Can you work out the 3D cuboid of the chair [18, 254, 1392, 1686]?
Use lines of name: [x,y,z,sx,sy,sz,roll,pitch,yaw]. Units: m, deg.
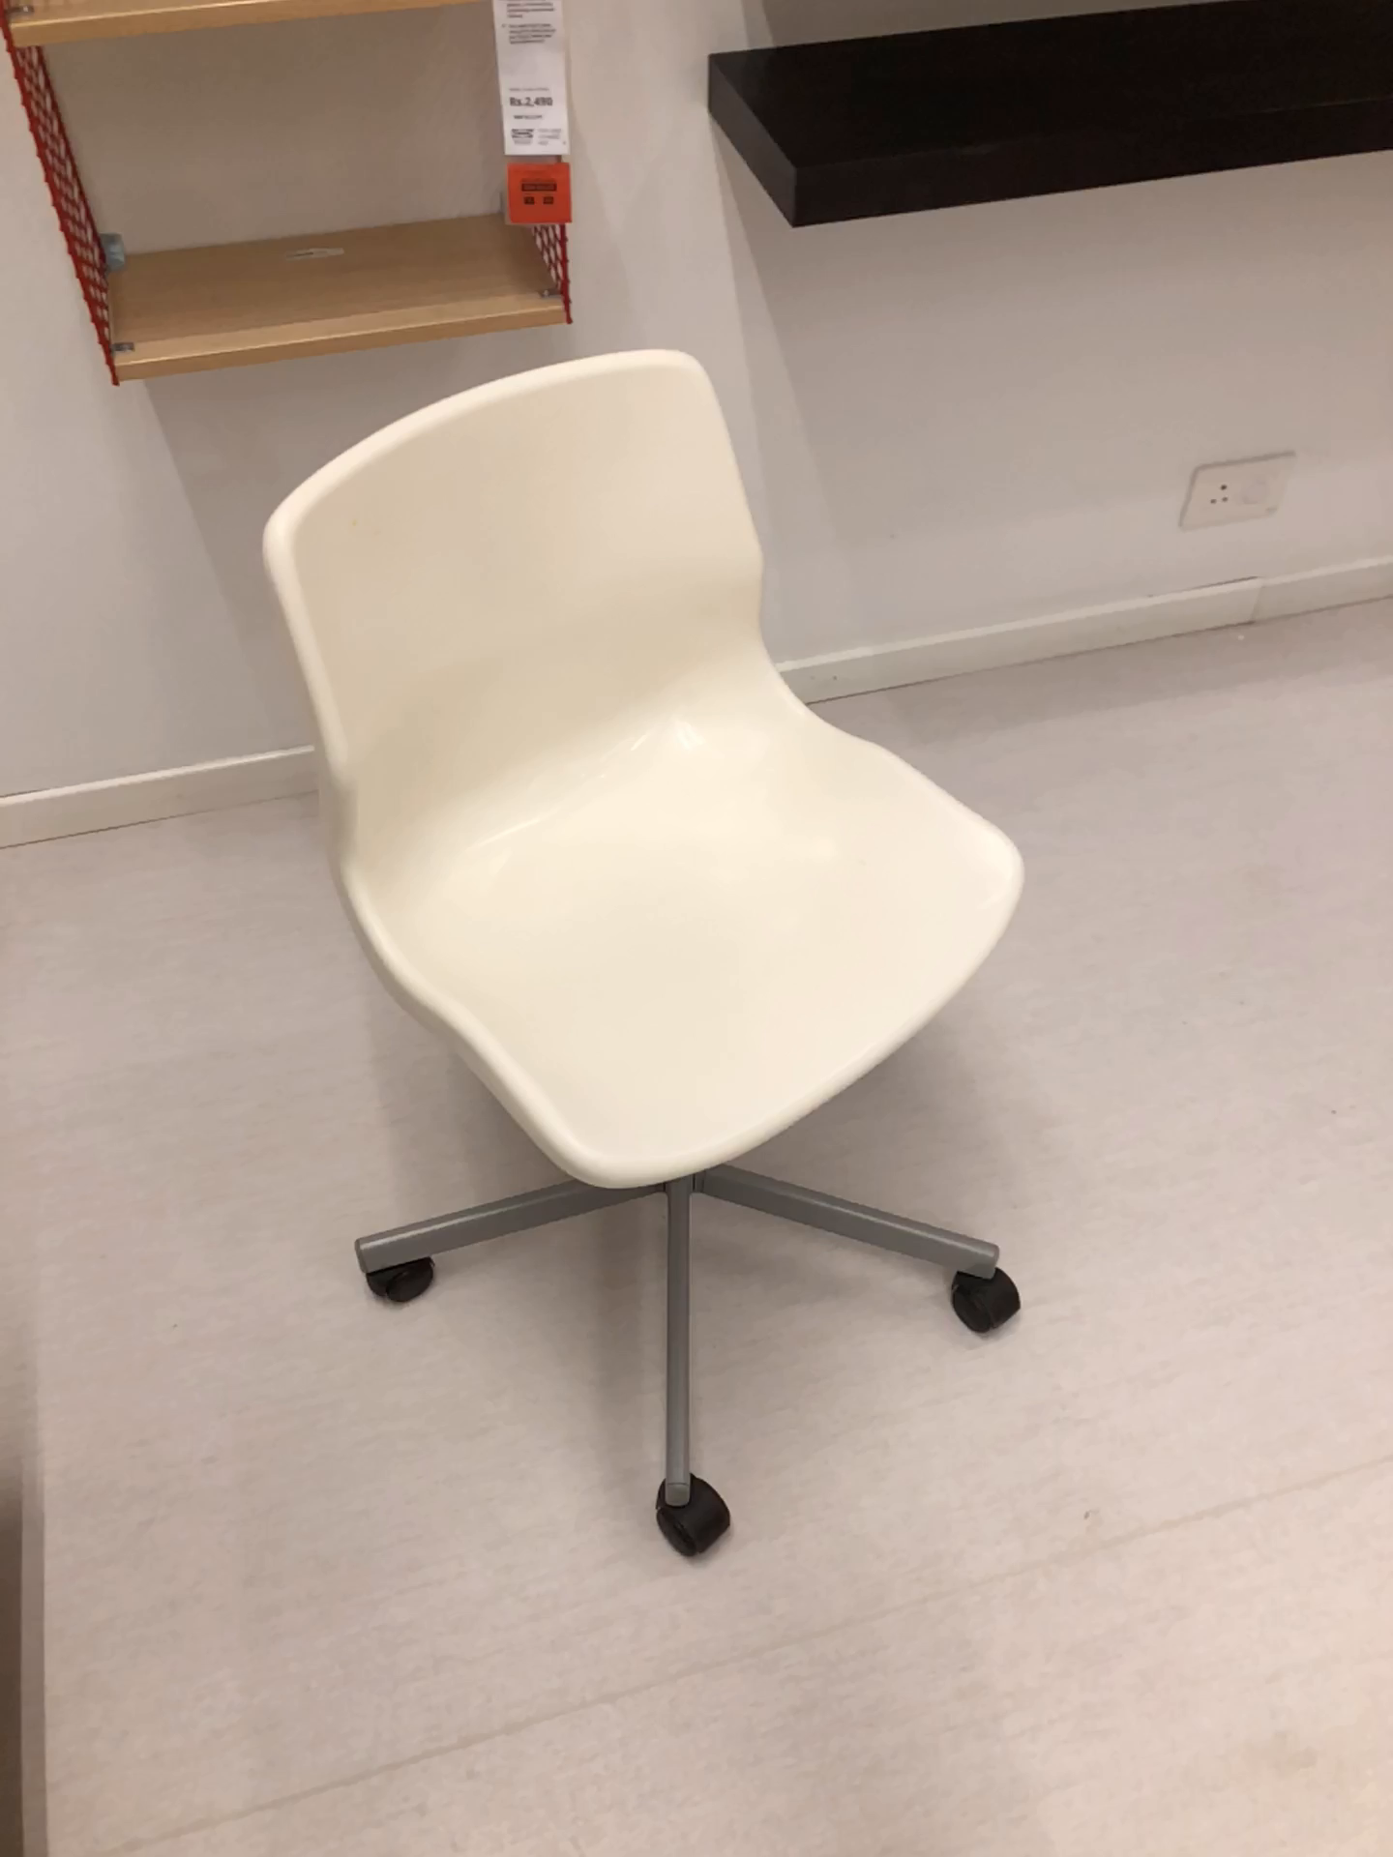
chair: [0.012,0.018,1.184,0.622,0.686,0.622,-32,57,-26]
